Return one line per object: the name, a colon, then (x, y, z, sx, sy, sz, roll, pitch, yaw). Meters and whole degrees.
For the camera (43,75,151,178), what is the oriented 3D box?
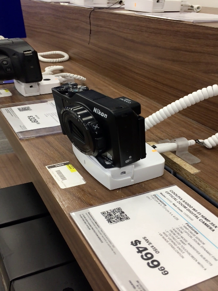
camera: (-0.015, -0.025, 0.305, 0.039, 0.073, 0.118, -29, 41, -27)
